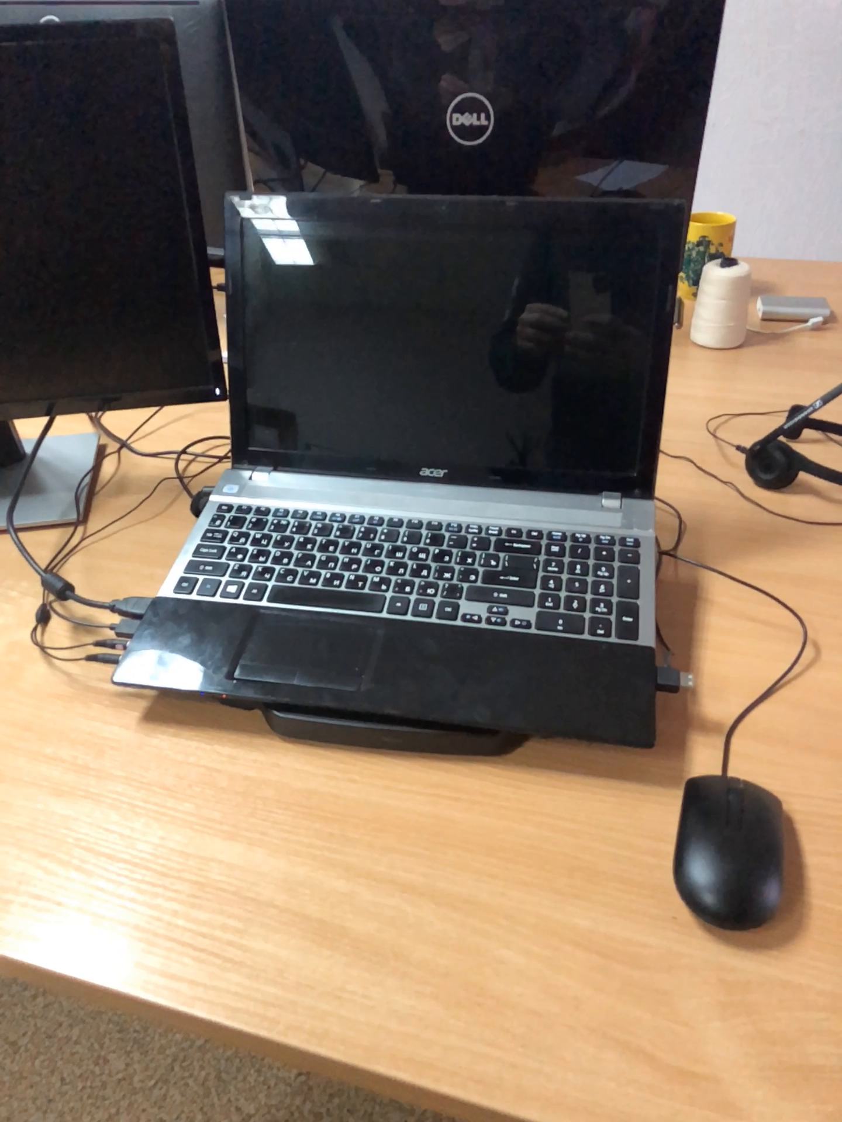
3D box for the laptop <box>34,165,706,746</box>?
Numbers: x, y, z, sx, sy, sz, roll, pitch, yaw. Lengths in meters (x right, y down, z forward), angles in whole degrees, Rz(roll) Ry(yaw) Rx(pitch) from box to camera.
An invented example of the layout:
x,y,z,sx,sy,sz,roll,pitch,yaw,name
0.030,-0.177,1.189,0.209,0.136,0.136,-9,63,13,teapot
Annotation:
x,y,z,sx,sy,sz,roll,pitch,yaw,name
-0.003,-0.110,0.676,0.370,0.215,0.354,5,41,10,laptop
